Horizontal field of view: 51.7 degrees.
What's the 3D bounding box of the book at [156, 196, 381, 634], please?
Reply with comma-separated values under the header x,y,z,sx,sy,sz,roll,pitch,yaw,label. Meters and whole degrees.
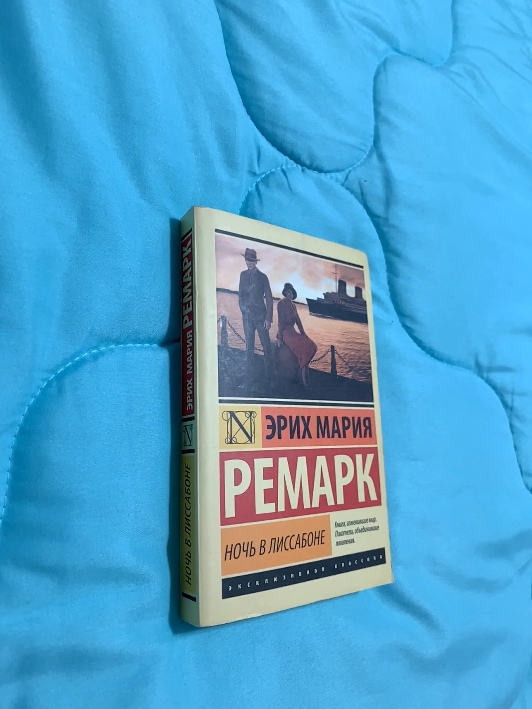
x,y,z,sx,sy,sz,roll,pitch,yaw,label
0.005,0.024,0.259,0.113,0.020,0.172,6,78,-38,book
